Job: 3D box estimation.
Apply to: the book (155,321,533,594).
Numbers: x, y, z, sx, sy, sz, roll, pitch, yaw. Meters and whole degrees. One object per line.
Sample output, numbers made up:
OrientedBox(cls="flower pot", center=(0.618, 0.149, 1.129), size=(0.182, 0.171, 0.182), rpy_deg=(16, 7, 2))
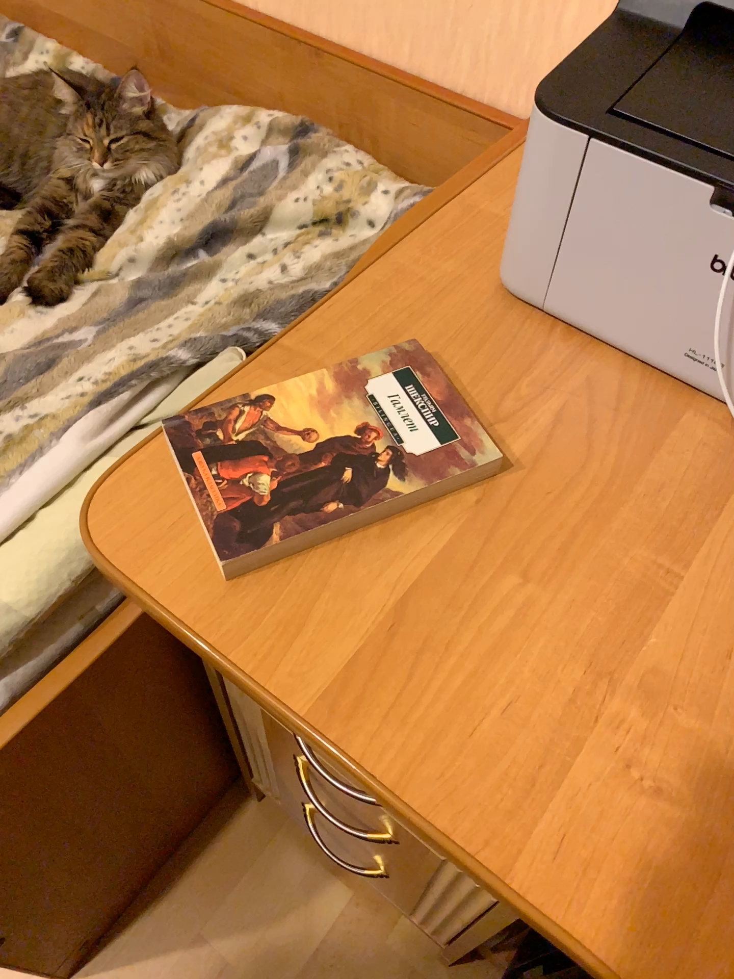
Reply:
OrientedBox(cls="book", center=(-0.016, -0.027, 0.454), size=(0.190, 0.030, 0.121), rpy_deg=(-19, 57, -15))
